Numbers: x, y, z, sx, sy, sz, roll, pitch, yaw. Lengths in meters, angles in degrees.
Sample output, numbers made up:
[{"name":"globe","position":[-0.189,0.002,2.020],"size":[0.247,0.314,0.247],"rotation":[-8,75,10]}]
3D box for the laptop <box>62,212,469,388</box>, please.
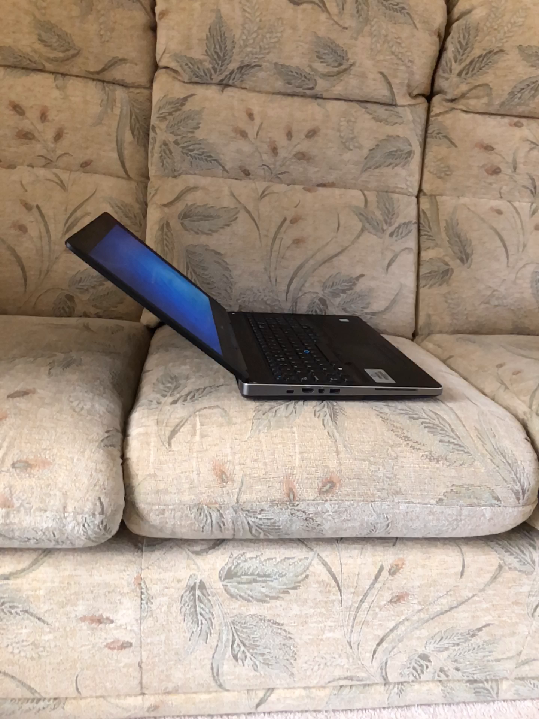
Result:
[{"name":"laptop","position":[-0.026,-0.100,0.853],"size":[0.451,0.157,0.357],"rotation":[2,20,-9]}]
